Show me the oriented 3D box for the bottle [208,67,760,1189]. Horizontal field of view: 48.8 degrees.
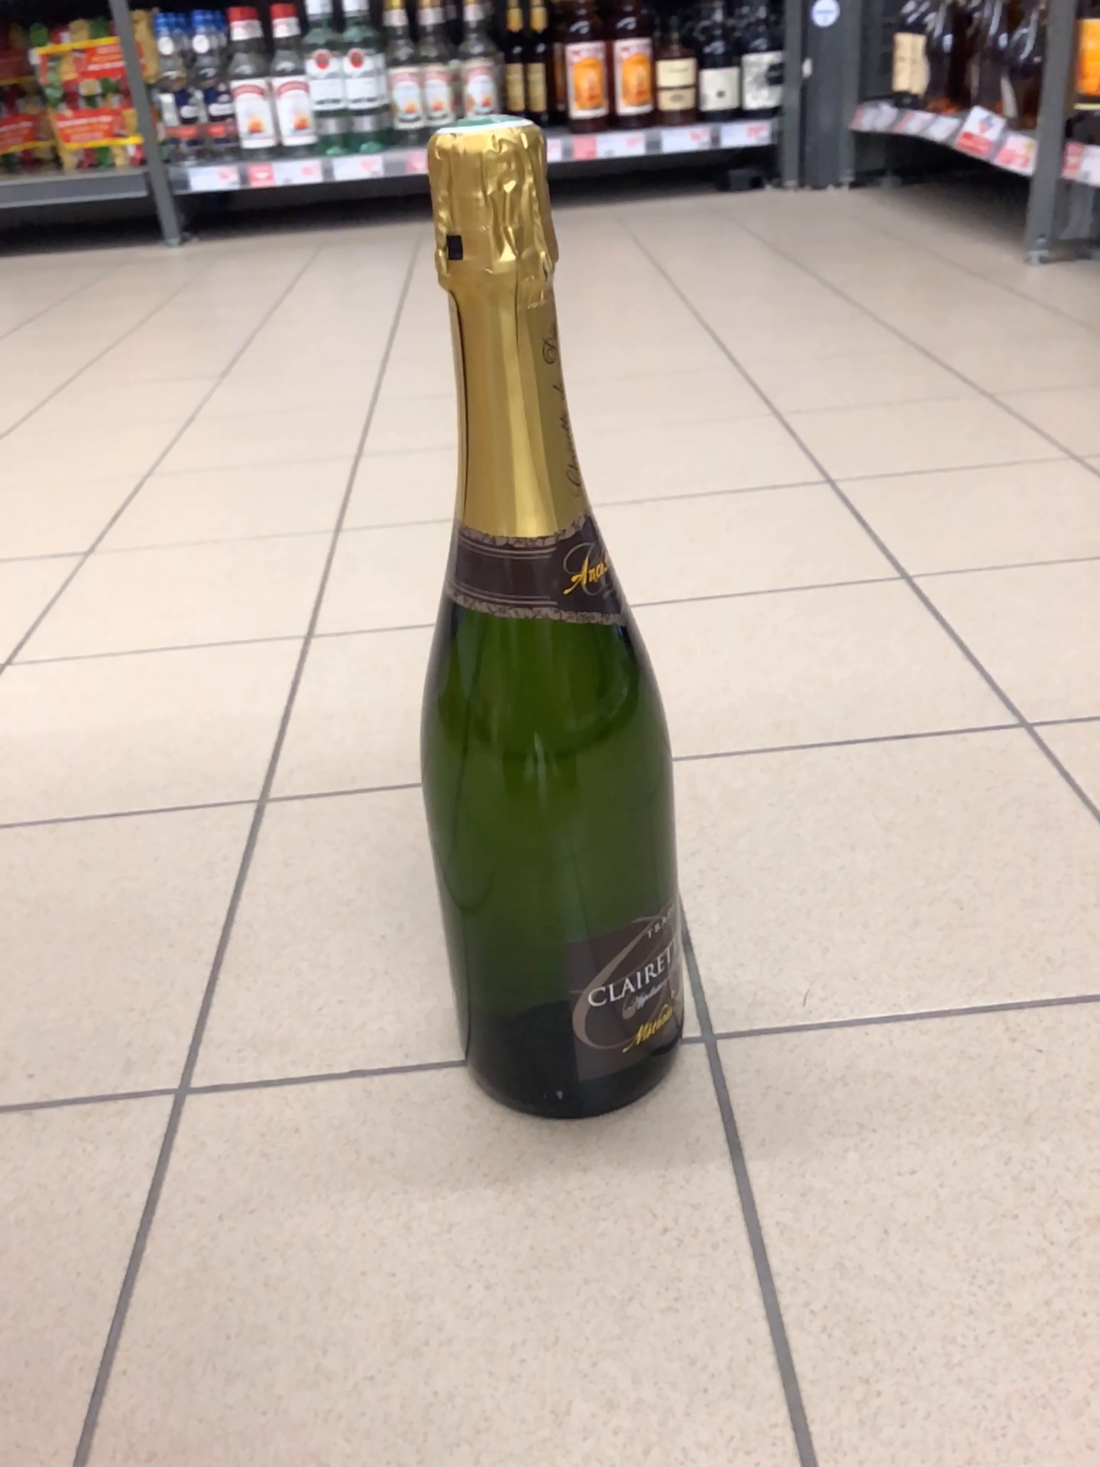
[{"bbox_3d":[-0.001,-0.022,0.381,0.100,0.318,0.101,-4,29,2],"label":"bottle"}]
